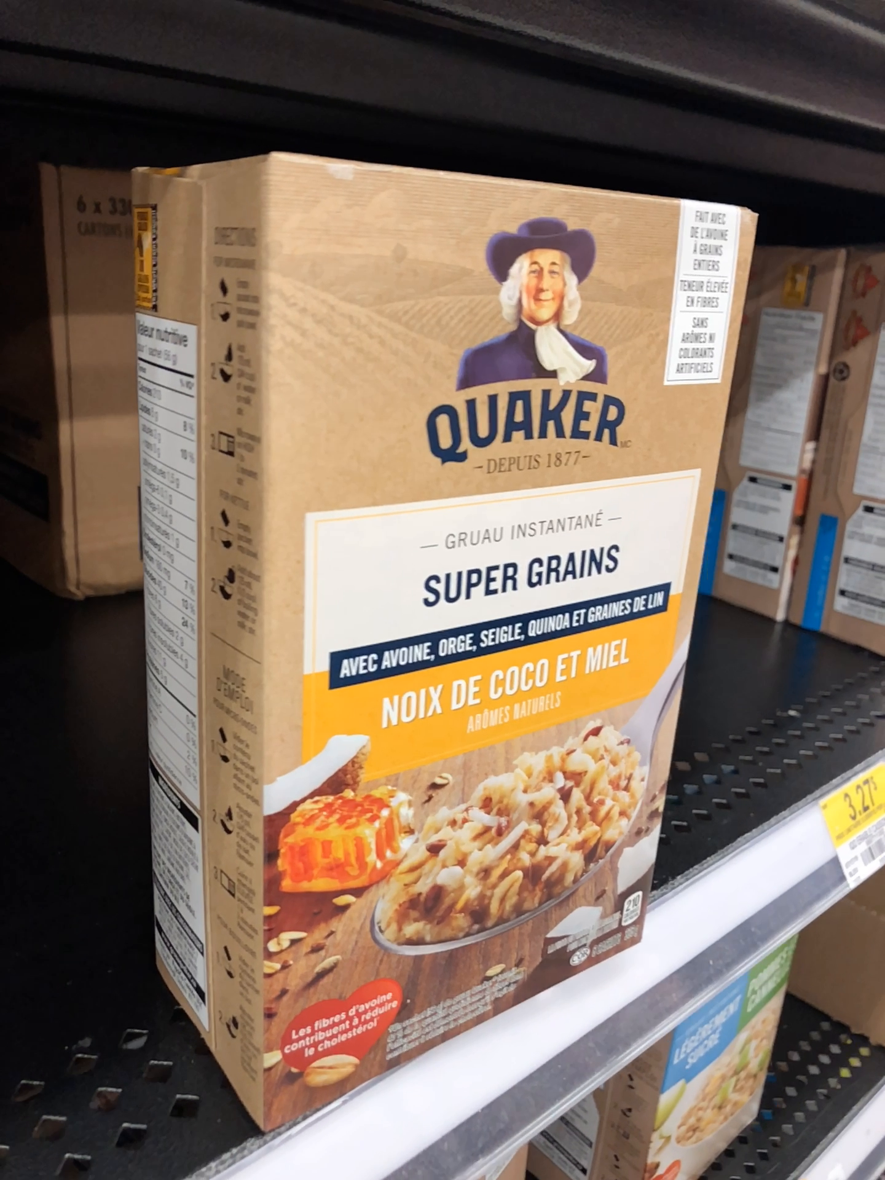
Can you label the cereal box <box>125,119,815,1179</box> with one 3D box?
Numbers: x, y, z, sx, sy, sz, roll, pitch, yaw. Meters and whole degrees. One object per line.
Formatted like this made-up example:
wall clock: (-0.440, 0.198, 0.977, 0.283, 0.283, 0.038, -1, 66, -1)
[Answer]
cereal box: (0.004, 0.008, 0.231, 0.130, 0.199, 0.060, -11, 25, -37)
